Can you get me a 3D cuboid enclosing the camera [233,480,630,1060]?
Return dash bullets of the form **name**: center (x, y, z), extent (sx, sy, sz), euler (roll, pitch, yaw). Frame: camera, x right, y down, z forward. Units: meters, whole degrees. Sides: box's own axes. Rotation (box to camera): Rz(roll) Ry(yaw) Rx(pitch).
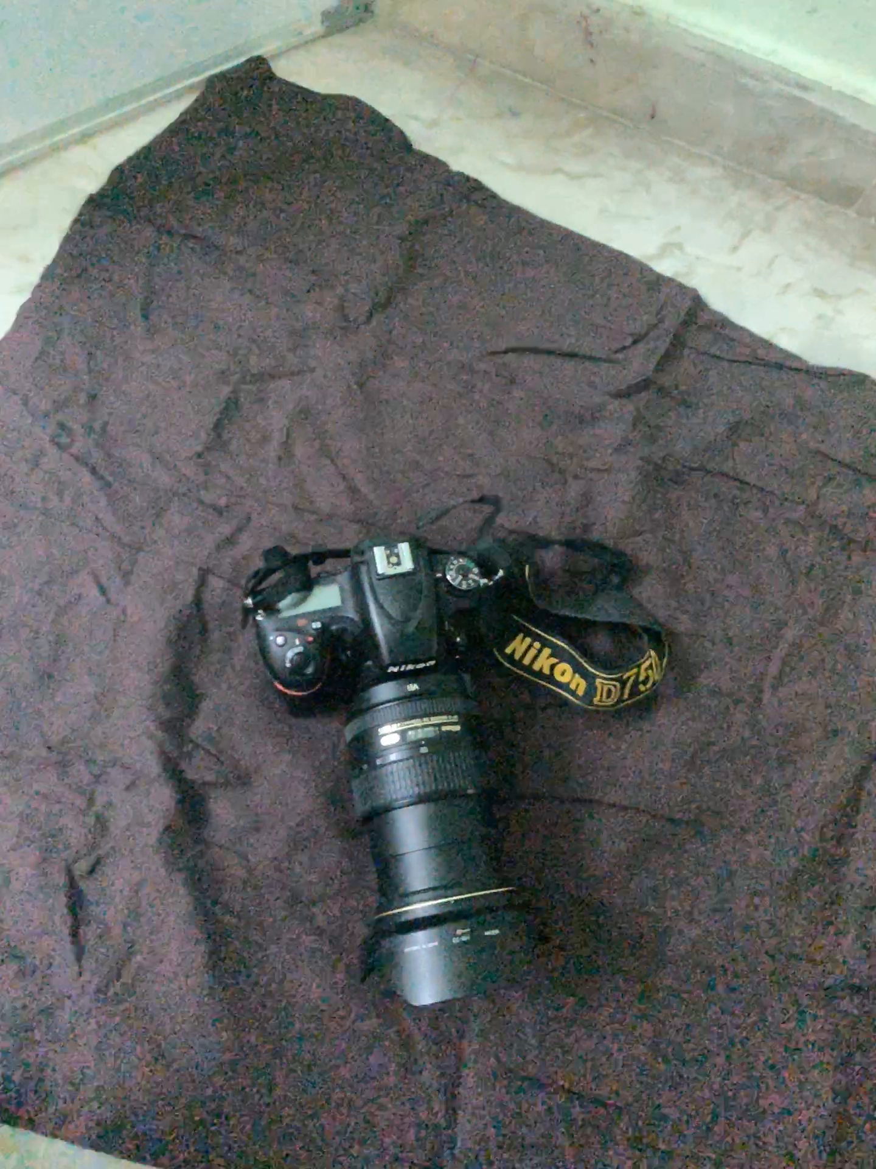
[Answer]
- **camera**: center (-0.016, 0.096, 0.521), extent (0.161, 0.100, 0.279), euler (-9, 71, -10)
